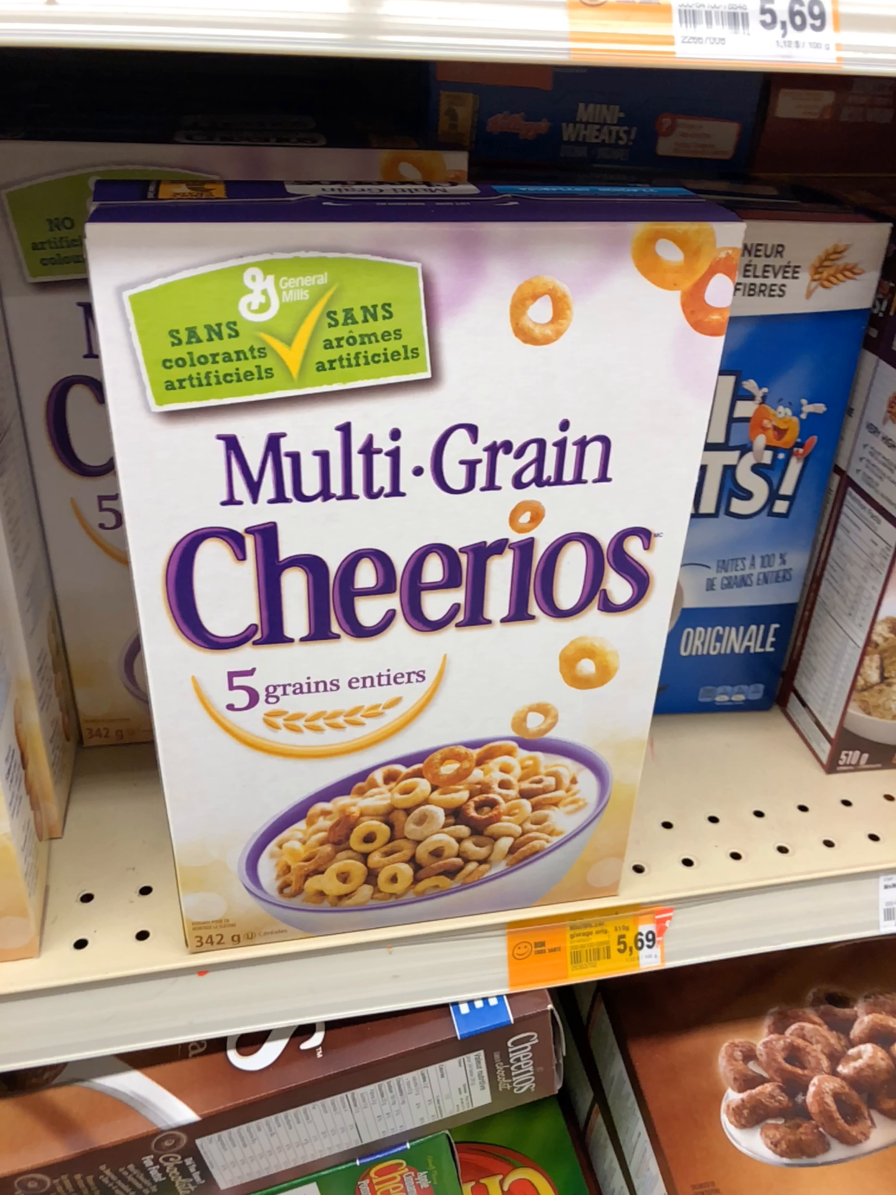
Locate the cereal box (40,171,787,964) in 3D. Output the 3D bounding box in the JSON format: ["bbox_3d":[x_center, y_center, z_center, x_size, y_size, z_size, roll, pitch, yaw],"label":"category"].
[{"bbox_3d":[-0.014,0.002,0.359,0.200,0.278,0.060,-4,32,-11],"label":"cereal box"}]
